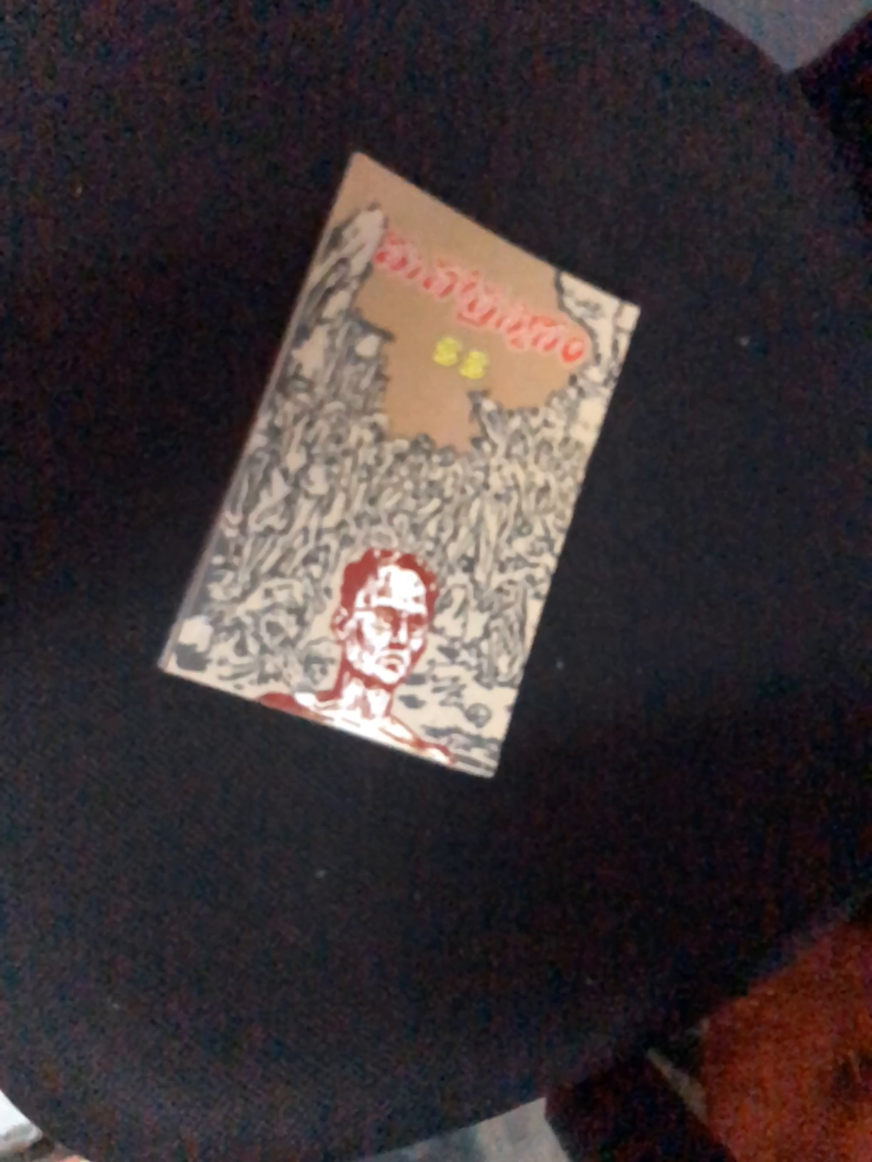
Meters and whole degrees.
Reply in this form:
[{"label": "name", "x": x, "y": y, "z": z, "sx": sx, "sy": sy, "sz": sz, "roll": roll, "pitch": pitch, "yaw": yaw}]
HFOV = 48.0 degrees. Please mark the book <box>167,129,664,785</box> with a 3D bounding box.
[{"label": "book", "x": 0.000, "y": -0.045, "z": 0.392, "sx": 0.140, "sy": 0.018, "sz": 0.220, "roll": 21, "pitch": 82, "yaw": -21}]
